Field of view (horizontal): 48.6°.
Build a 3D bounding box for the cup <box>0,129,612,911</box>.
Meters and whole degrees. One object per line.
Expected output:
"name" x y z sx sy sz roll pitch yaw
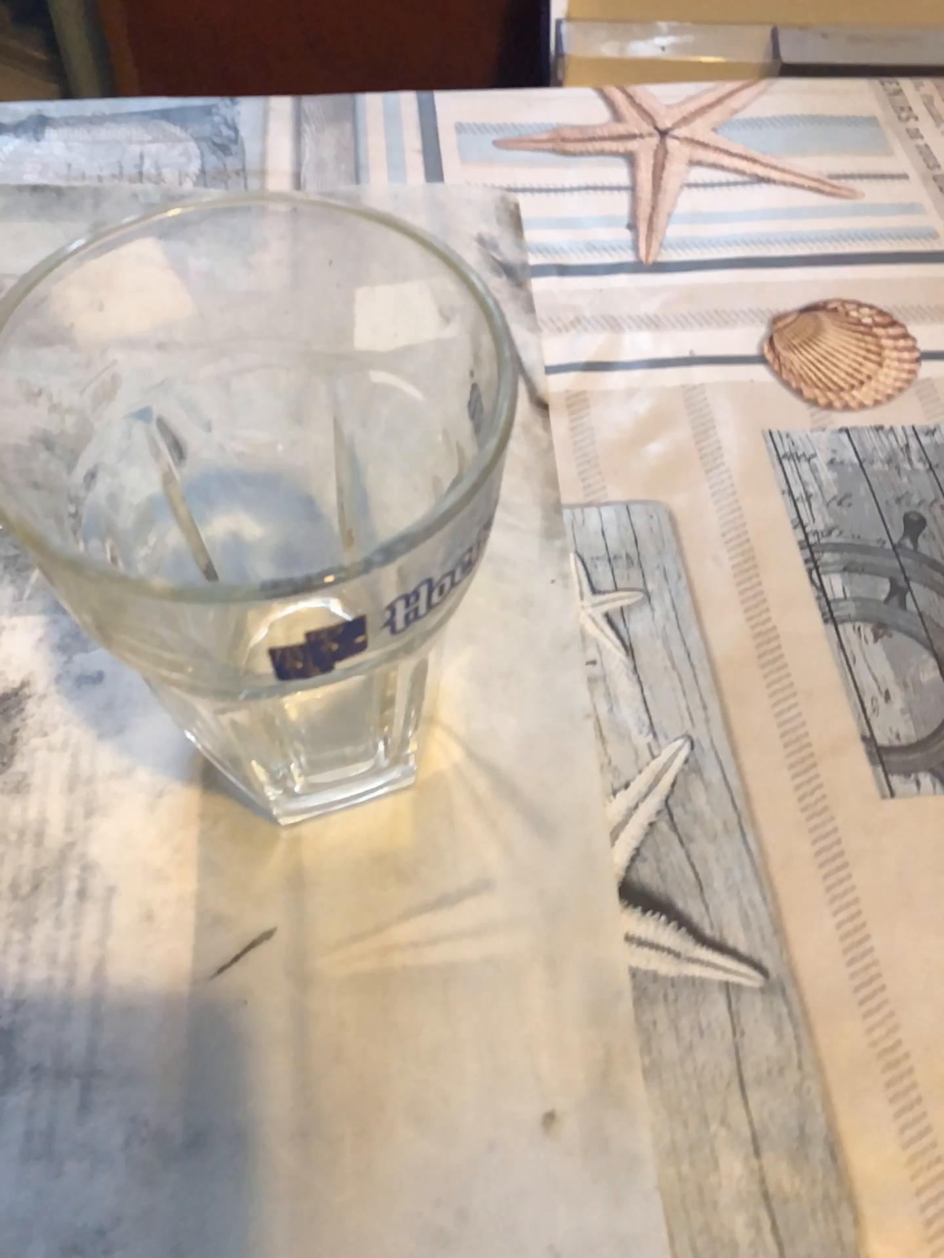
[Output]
"cup" -0.038 -0.015 0.234 0.098 0.123 0.099 0 61 -1
